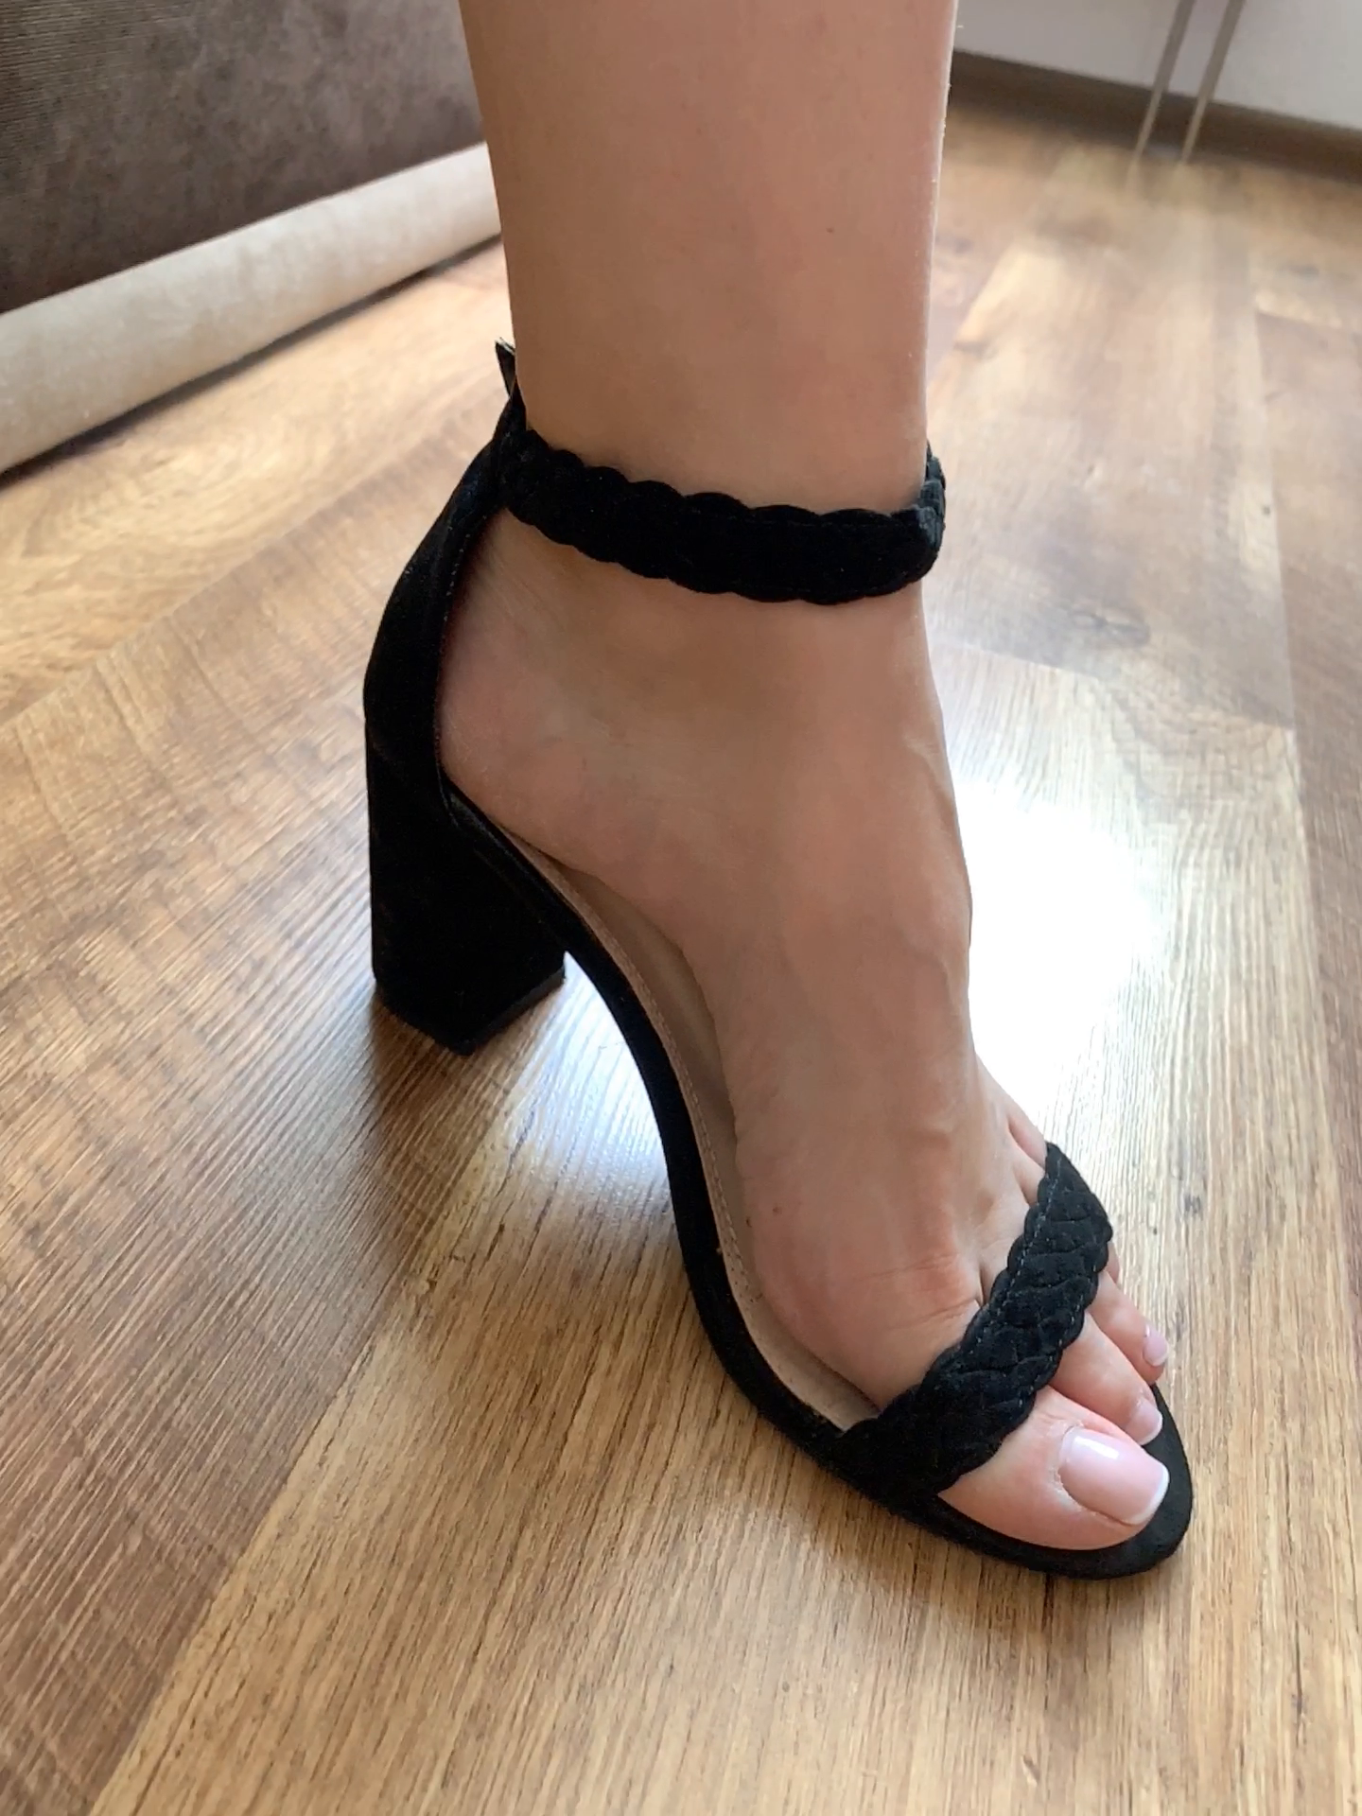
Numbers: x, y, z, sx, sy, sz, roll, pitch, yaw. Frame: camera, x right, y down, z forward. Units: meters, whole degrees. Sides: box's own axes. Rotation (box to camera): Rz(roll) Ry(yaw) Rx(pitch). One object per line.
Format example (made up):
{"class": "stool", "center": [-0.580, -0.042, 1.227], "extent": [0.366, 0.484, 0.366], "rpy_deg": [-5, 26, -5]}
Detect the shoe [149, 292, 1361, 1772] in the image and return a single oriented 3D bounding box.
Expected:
{"class": "shoe", "center": [0.012, 0.003, 0.261], "extent": [0.230, 0.149, 0.090], "rpy_deg": [35, 44, 29]}
